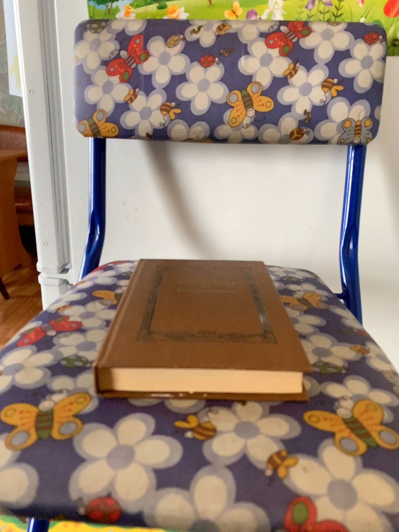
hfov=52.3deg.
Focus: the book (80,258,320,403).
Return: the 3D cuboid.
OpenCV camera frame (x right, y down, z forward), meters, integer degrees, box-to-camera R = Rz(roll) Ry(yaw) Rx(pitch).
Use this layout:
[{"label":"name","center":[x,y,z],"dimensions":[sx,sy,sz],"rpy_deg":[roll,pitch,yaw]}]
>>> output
[{"label":"book","center":[-0.001,0.033,0.293],"dimensions":[0.124,0.020,0.171],"rpy_deg":[1,20,-1]}]
